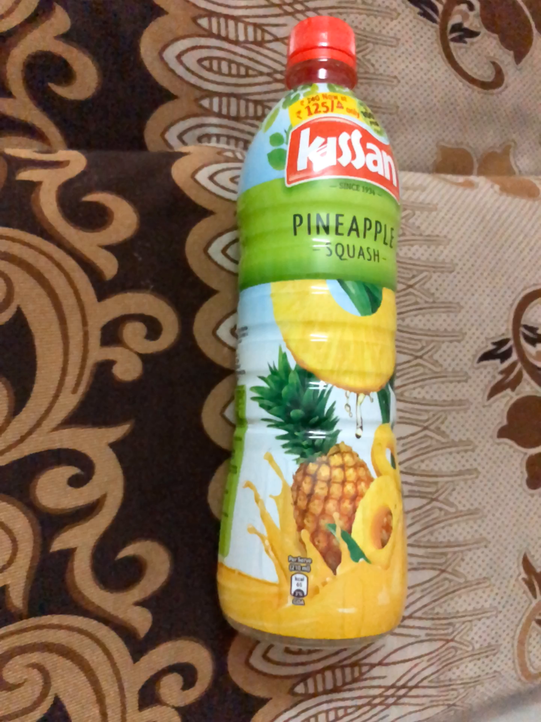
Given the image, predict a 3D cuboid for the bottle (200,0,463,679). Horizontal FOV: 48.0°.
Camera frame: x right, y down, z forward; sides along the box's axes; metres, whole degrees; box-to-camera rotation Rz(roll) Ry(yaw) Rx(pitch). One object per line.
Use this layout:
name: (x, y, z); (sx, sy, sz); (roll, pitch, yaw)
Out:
bottle: (0.023, -0.021, 0.232); (0.070, 0.060, 0.240); (5, 84, -26)
